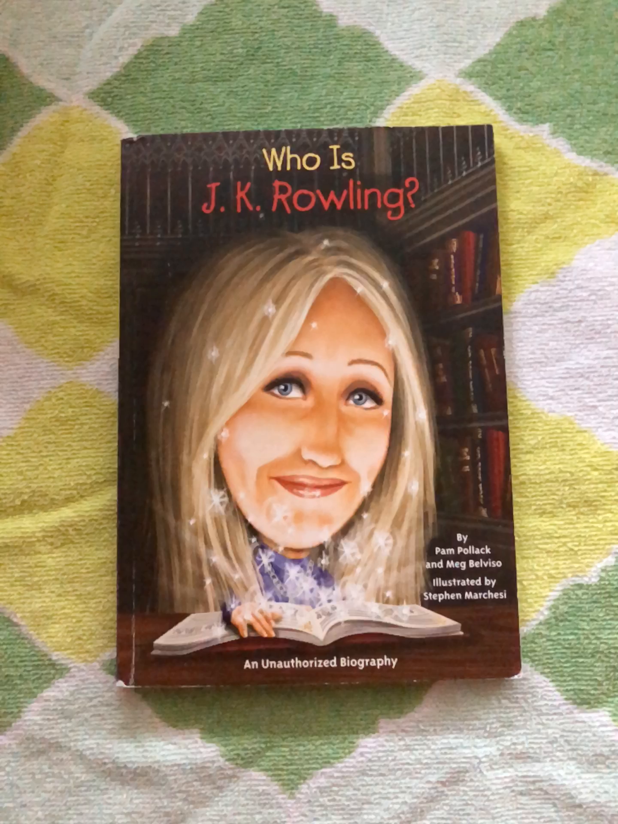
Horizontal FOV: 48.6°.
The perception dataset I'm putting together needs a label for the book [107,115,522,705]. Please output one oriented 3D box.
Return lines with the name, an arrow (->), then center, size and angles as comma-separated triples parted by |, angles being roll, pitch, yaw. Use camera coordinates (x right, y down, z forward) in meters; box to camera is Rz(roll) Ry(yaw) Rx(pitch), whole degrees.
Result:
book -> 0.000, -0.004, 0.224 | 0.126, 0.012, 0.187 | -1, 84, 2
